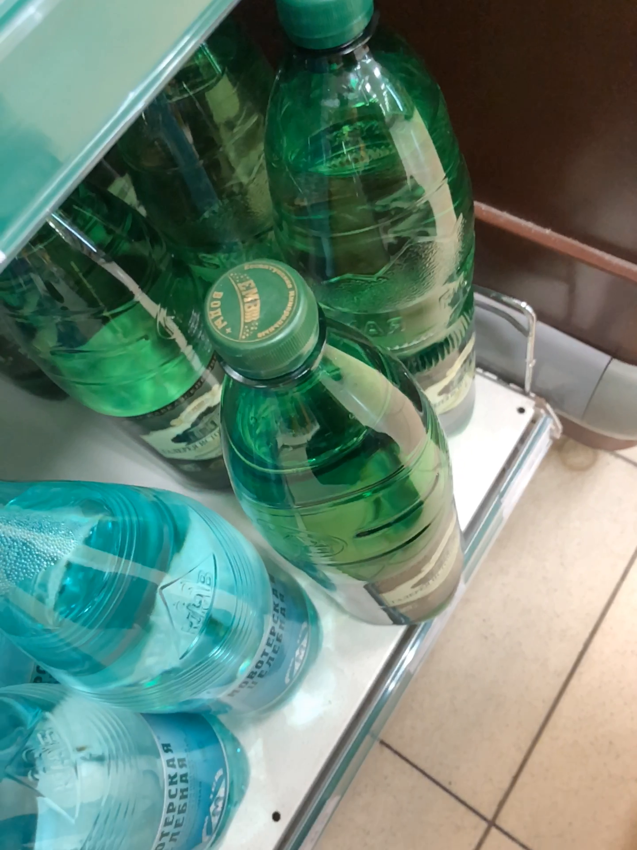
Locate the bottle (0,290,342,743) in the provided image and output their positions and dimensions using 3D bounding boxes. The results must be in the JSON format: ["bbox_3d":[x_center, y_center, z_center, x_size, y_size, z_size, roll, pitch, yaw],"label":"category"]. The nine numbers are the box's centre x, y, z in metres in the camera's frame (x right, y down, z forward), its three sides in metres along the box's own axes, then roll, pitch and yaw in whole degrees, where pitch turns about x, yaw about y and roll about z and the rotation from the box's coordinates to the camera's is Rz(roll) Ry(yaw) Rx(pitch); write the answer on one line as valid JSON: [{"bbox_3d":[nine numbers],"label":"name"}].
[{"bbox_3d":[-0.068,0.078,0.315,0.076,0.327,0.084,-4,66,10],"label":"bottle"}]

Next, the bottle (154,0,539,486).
[{"bbox_3d":[0.037,-0.078,0.363,0.082,0.327,0.091,29,75,21],"label":"bottle"}]

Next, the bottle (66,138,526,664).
[{"bbox_3d":[0.020,0.031,0.328,0.088,0.309,0.091,-4,66,10],"label":"bottle"}]
